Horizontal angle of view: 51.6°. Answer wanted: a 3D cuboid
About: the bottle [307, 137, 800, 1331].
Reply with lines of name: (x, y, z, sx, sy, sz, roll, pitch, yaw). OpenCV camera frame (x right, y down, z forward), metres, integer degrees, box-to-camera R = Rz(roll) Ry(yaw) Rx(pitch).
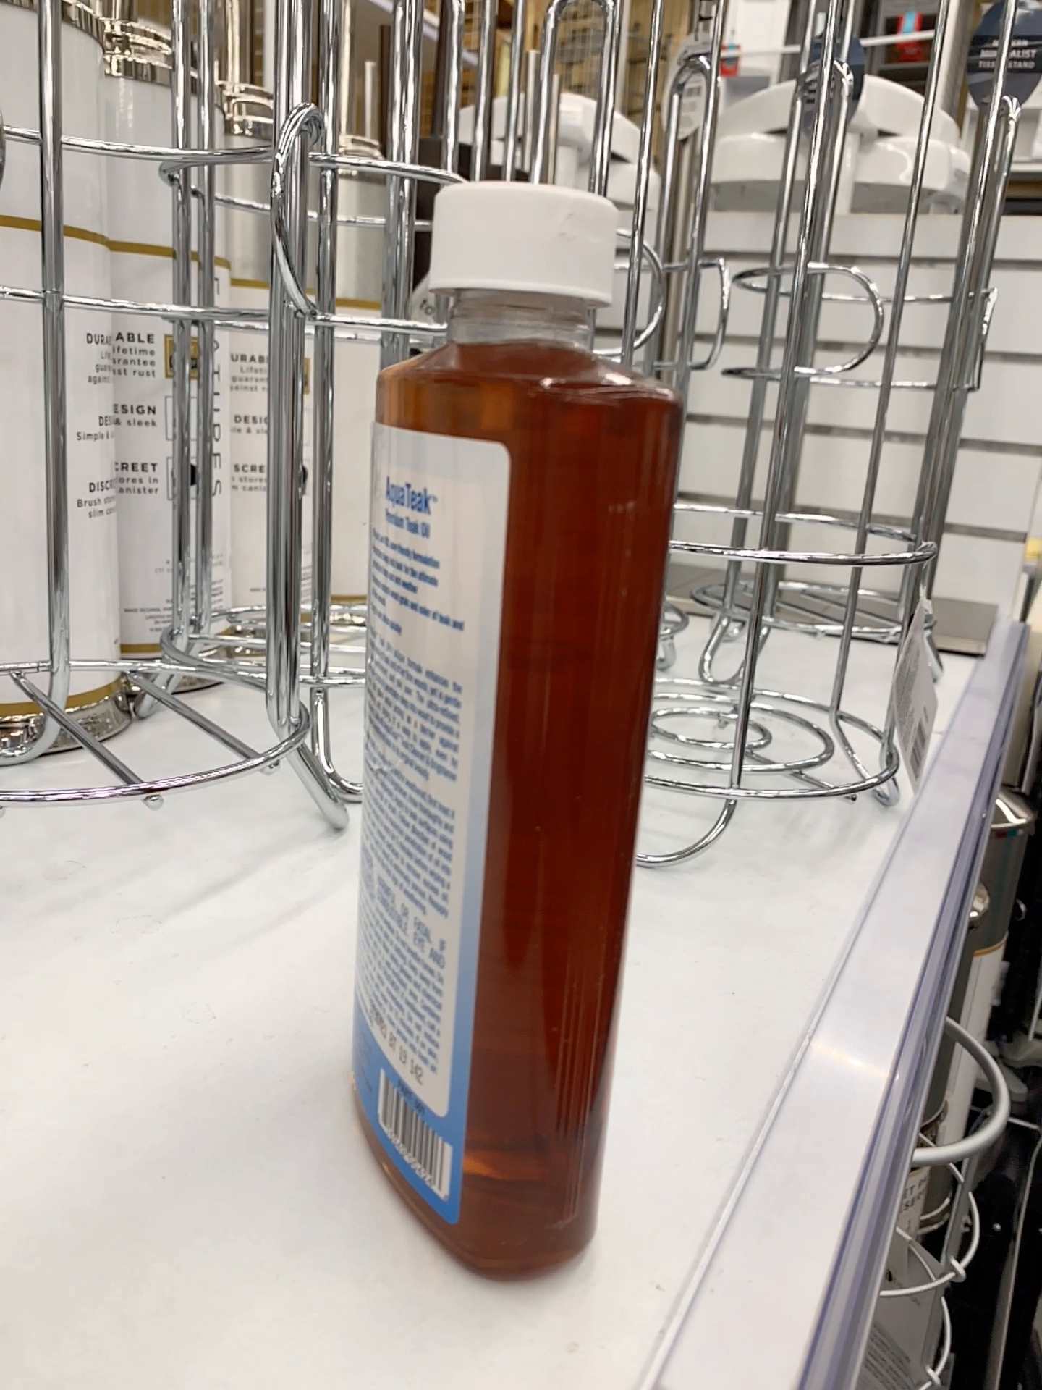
bottle: (-0.005, 0.008, 0.225, 0.045, 0.207, 0.088, -4, 18, -30)
